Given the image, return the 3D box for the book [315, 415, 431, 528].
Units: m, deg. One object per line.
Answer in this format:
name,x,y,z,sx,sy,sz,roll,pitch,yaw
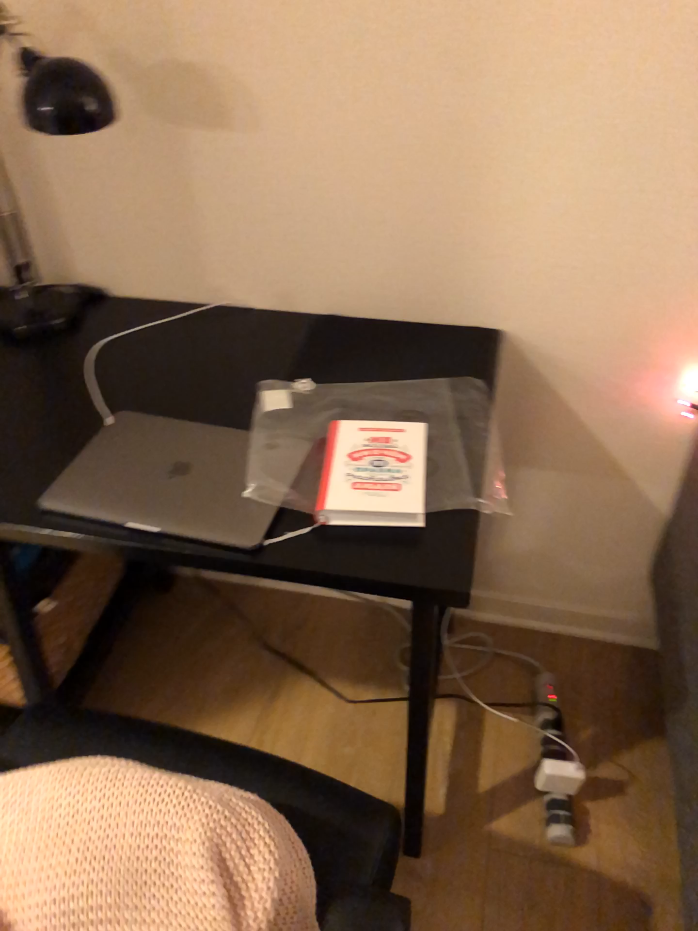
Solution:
book,0.034,0.003,1.008,0.140,0.030,0.191,1,39,3
